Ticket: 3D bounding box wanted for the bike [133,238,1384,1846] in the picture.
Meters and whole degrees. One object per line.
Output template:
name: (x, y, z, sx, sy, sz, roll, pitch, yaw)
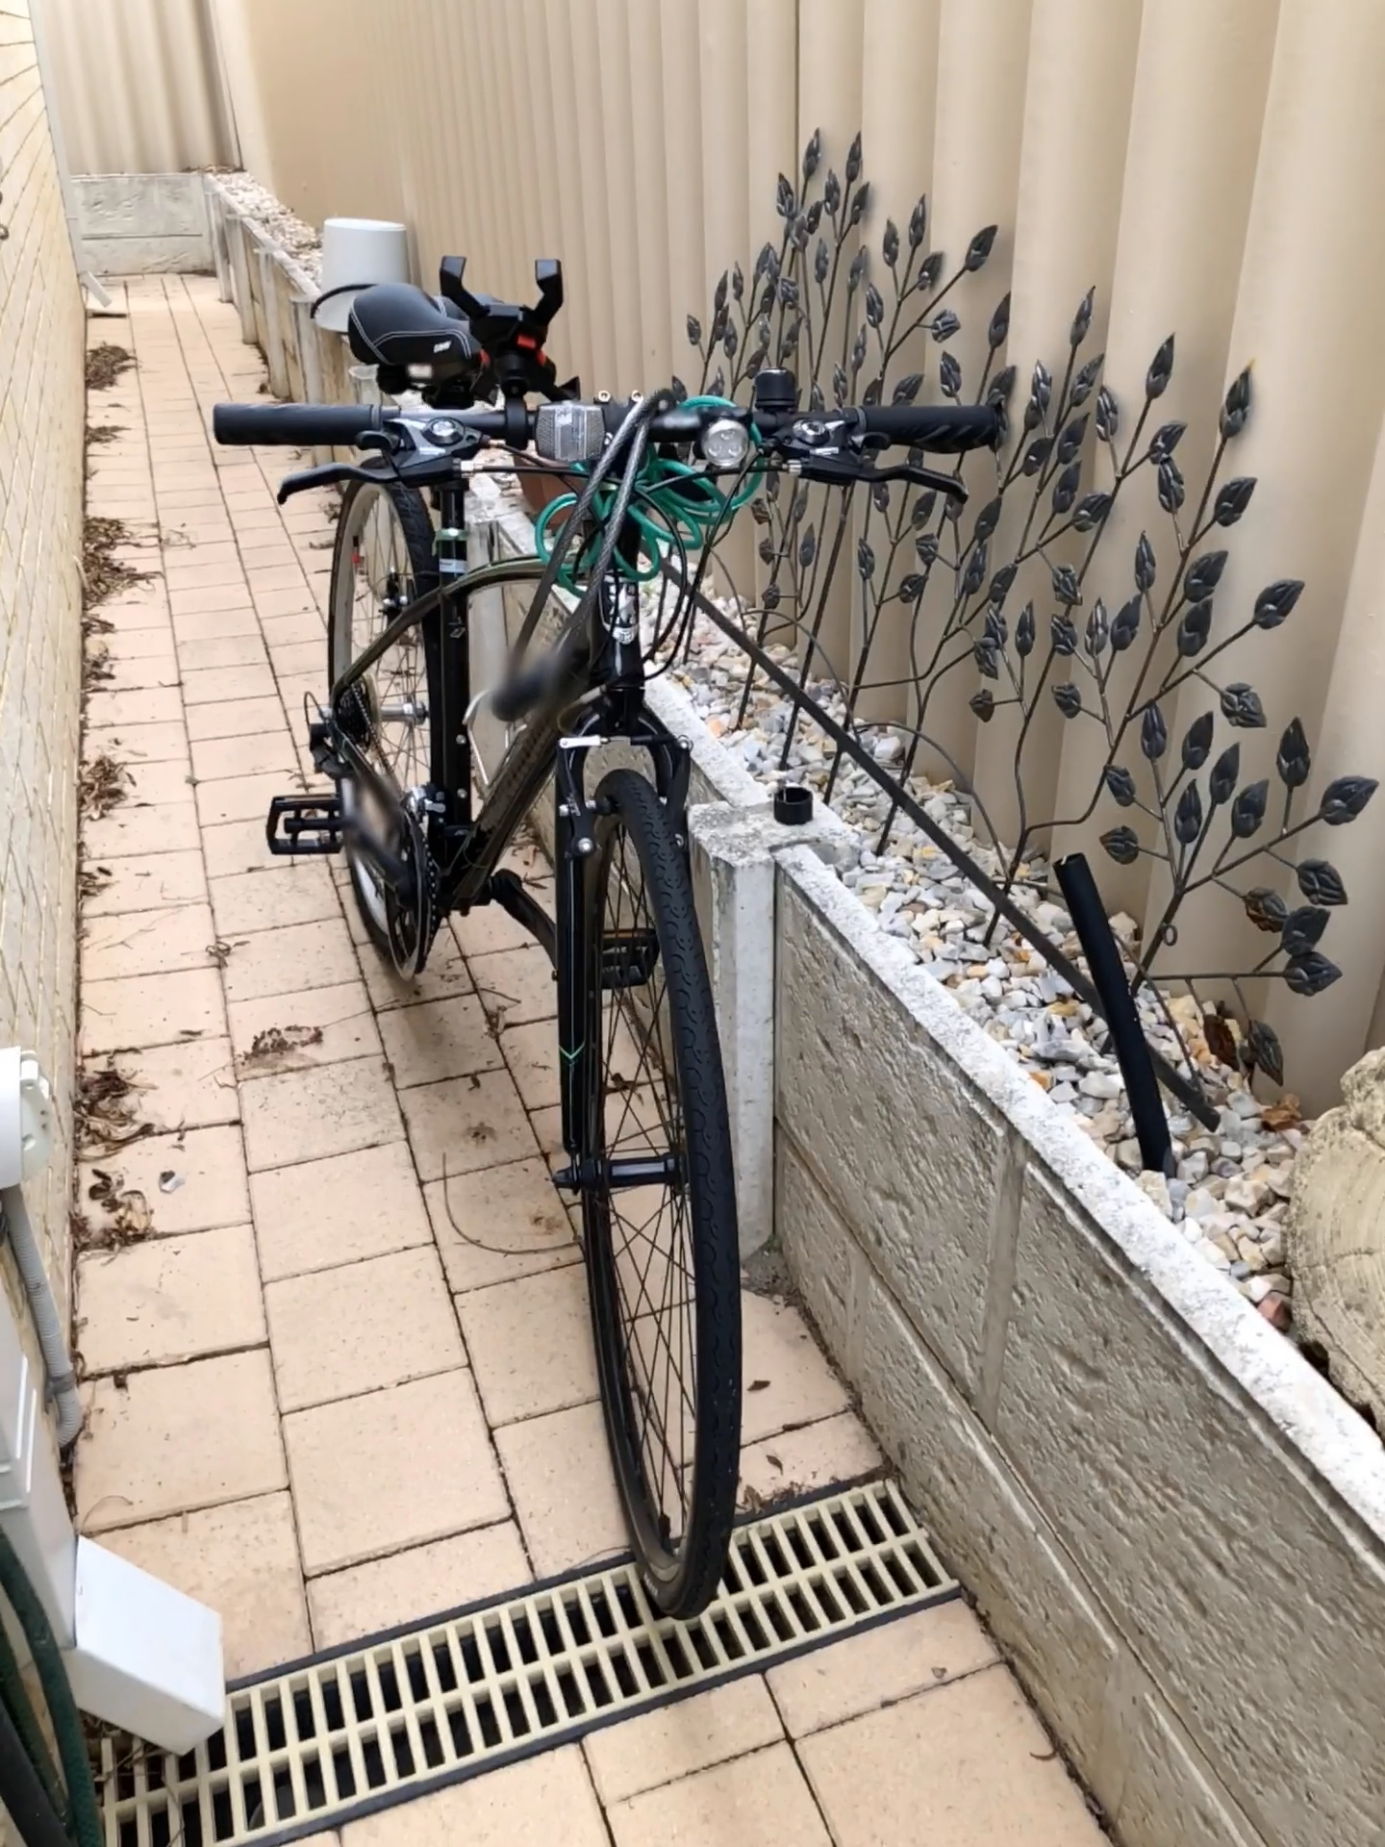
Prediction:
bike: (-0.166, -0.174, 1.632, 0.638, 0.859, 1.706, -10, 31, -17)
